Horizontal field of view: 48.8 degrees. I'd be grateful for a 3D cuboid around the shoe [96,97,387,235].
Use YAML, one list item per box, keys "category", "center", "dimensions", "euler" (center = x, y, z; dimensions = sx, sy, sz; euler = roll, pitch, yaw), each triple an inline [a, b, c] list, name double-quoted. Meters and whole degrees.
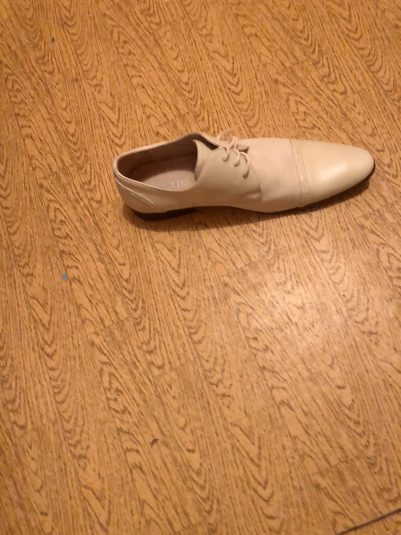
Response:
- category: "shoe"
  center: [0.043, -0.115, 0.535]
  dimensions: [0.310, 0.100, 0.100]
  euler: [-3, 73, 7]
